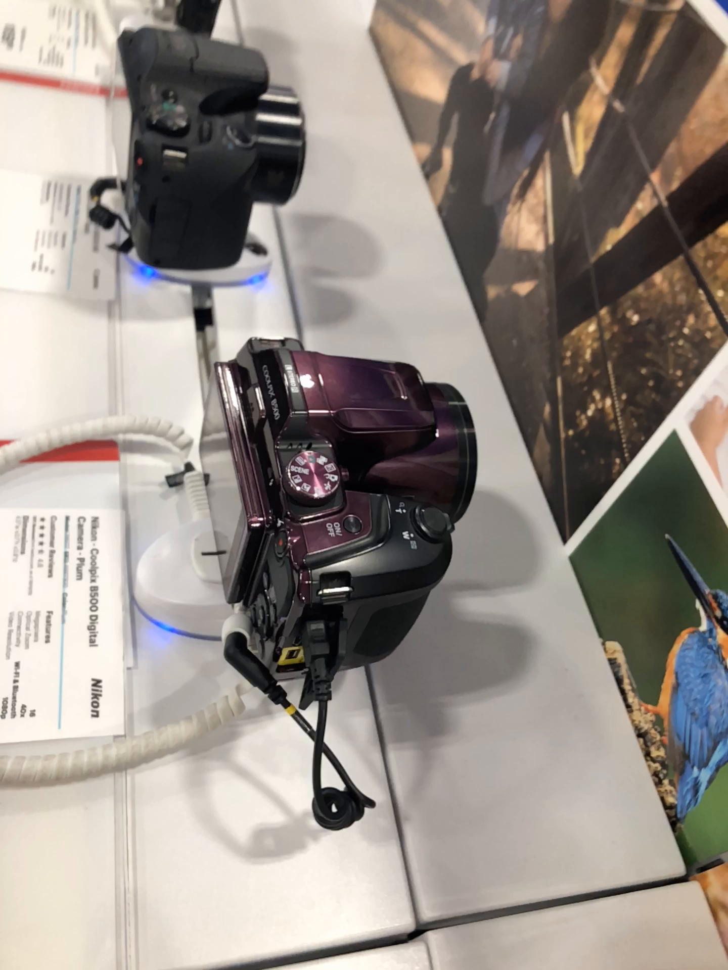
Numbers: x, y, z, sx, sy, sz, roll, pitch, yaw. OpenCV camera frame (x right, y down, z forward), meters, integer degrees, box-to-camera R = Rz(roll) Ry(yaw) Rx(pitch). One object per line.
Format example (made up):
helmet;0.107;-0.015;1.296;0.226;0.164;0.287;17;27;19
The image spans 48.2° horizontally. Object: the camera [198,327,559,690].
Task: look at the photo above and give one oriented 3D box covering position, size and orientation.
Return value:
camera;-0.003;0.004;0.316;0.100;0.060;0.120;-2;54;-21
